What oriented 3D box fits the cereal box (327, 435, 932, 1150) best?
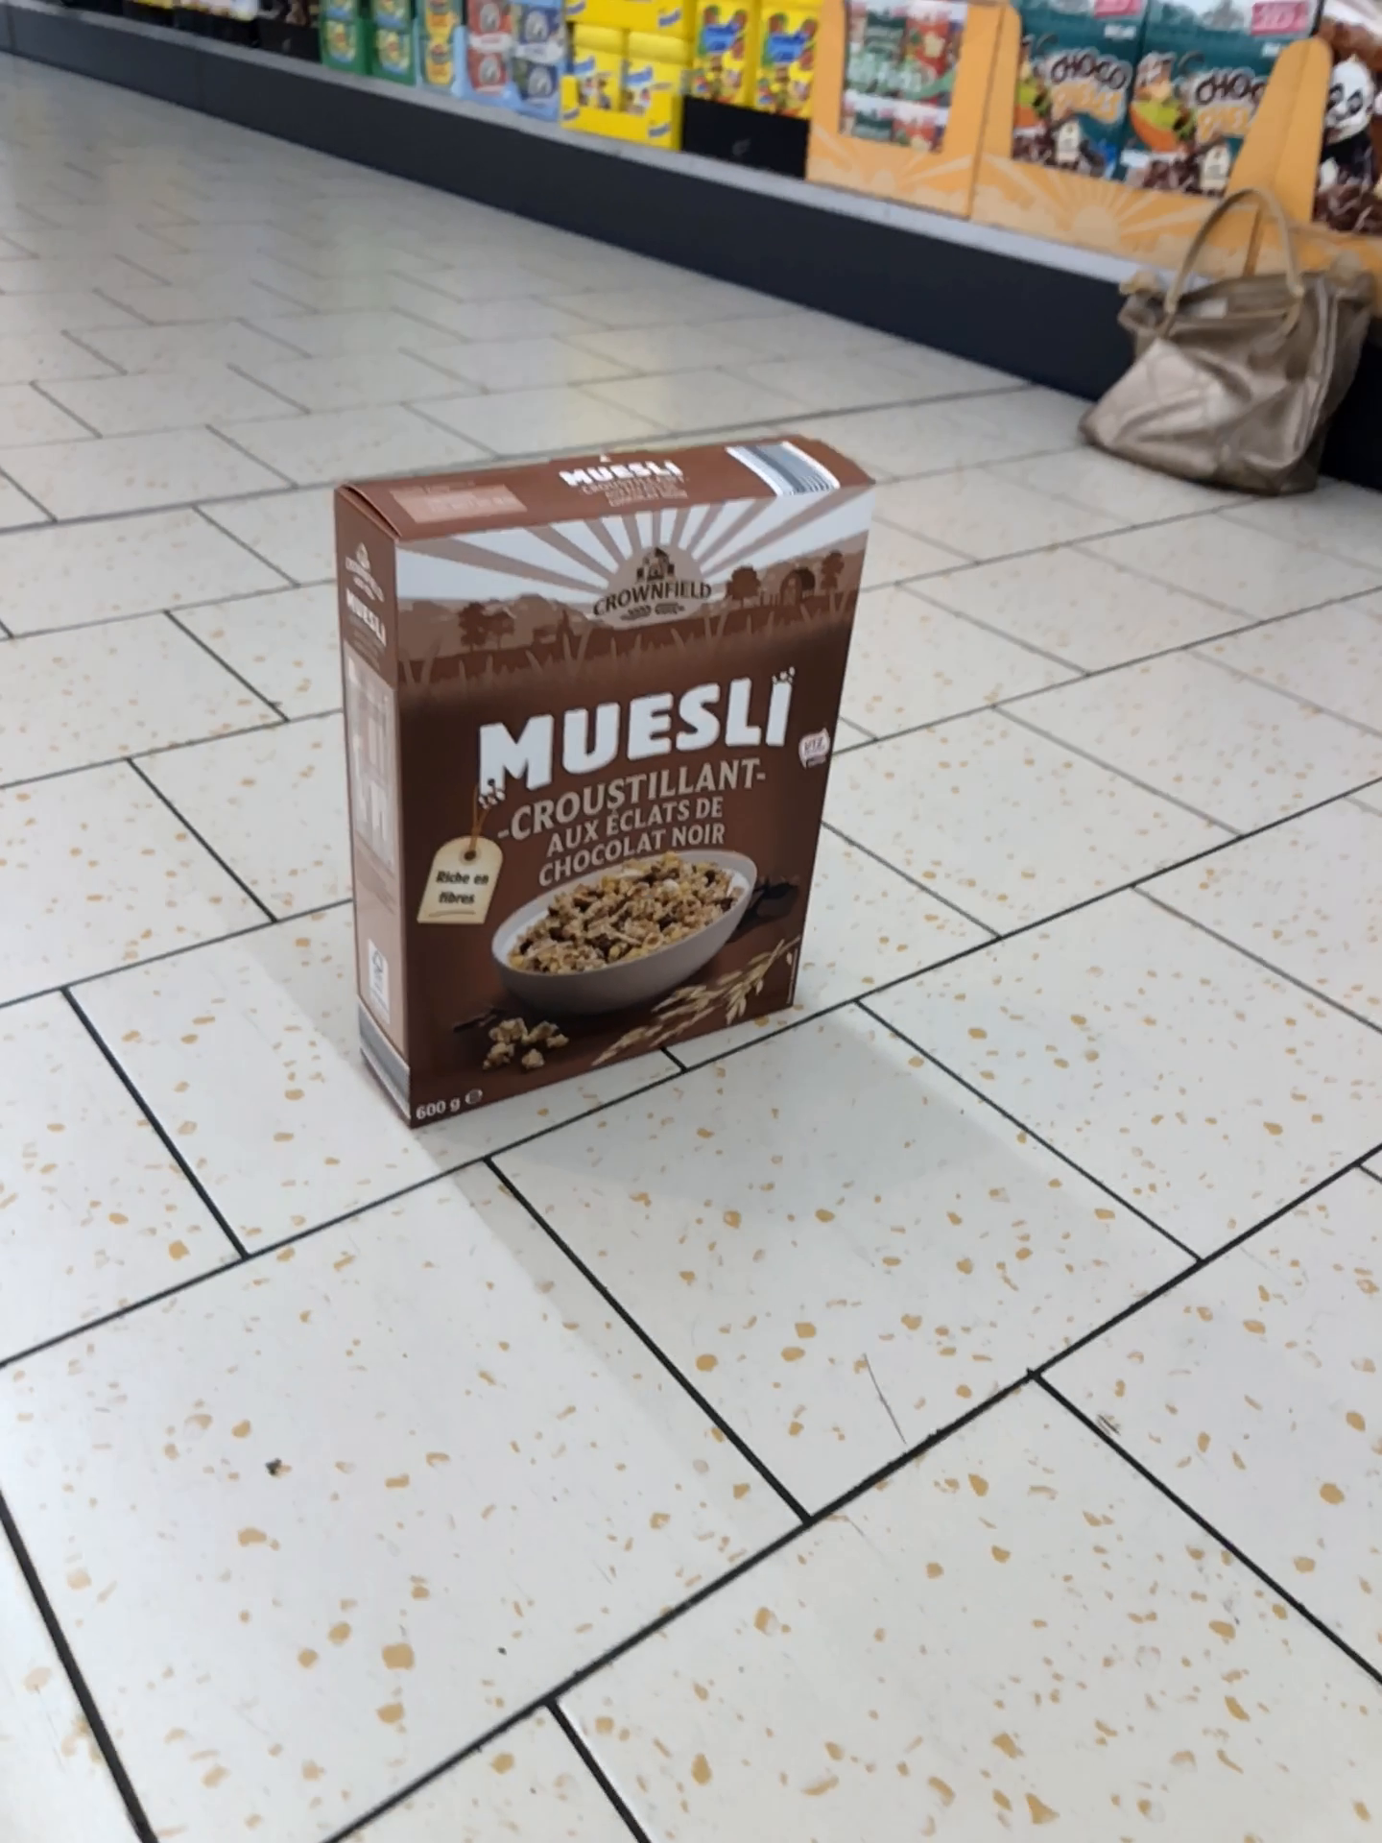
[{"bbox_3d":[-0.025,-0.052,0.592,0.201,0.238,0.070,-13,36,-26],"label":"cereal box"}]
